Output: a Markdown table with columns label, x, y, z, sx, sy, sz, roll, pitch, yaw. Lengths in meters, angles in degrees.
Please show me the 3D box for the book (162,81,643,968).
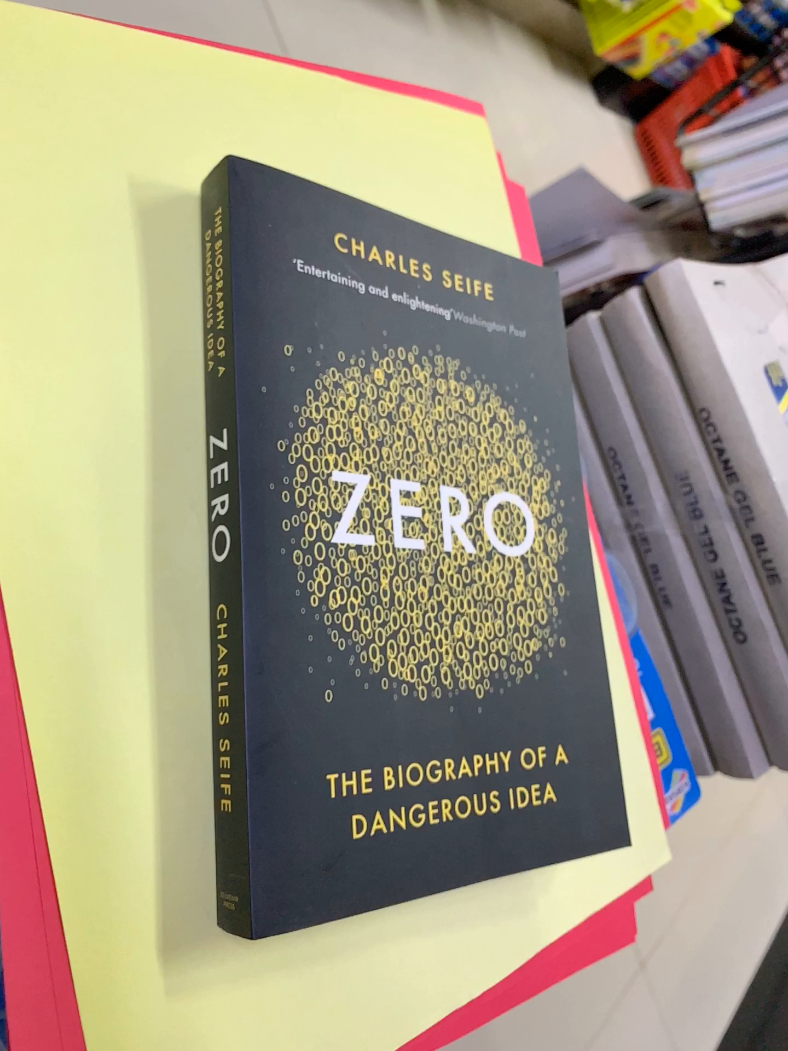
| label | x | y | z | sx | sy | sz | roll | pitch | yaw |
| --- | --- | --- | --- | --- | --- | --- | --- | --- | --- |
| book | 0.004 | -0.002 | 0.238 | 0.131 | 0.040 | 0.200 | 5 | 76 | -37 |
